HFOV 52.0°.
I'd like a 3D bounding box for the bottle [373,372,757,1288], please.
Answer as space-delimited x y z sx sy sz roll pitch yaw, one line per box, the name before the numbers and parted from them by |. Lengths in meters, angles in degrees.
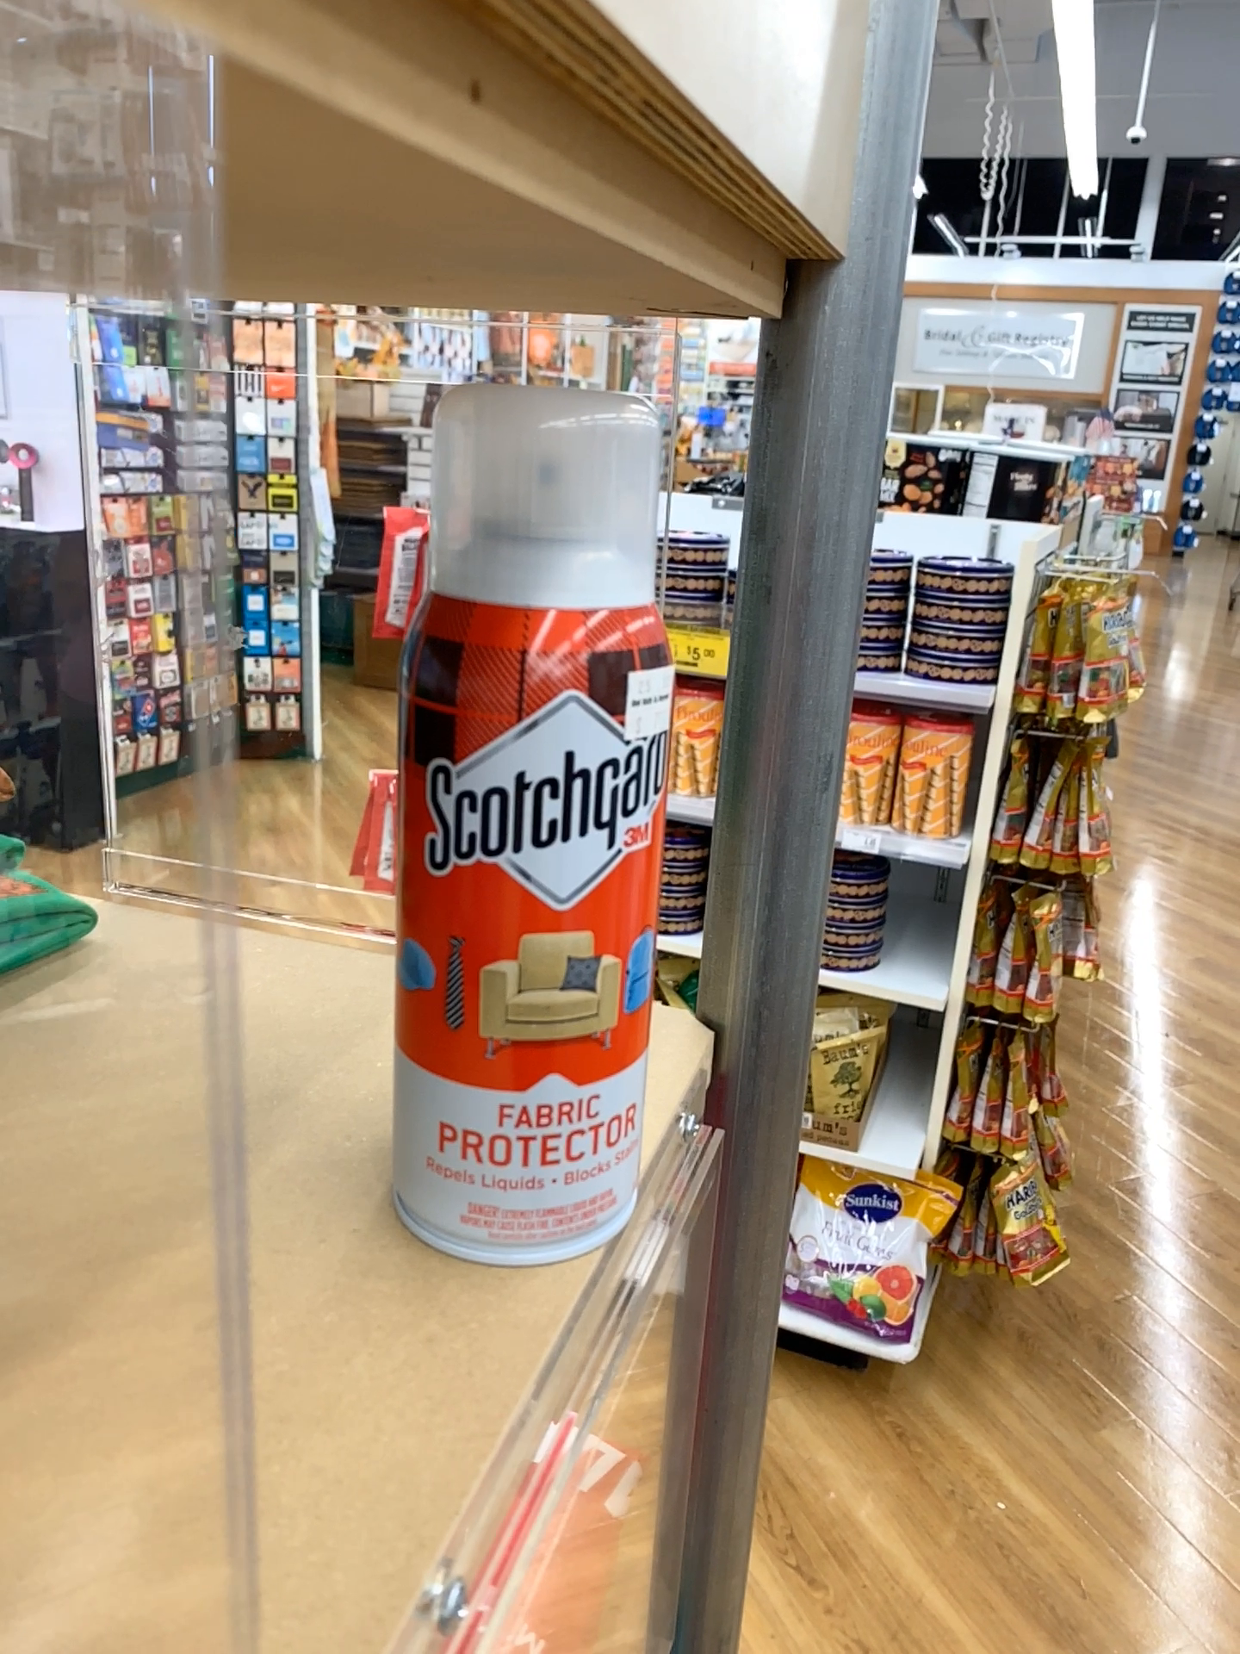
bottle | -0.021 0.000 0.312 0.069 0.206 0.067 4 17 -1
